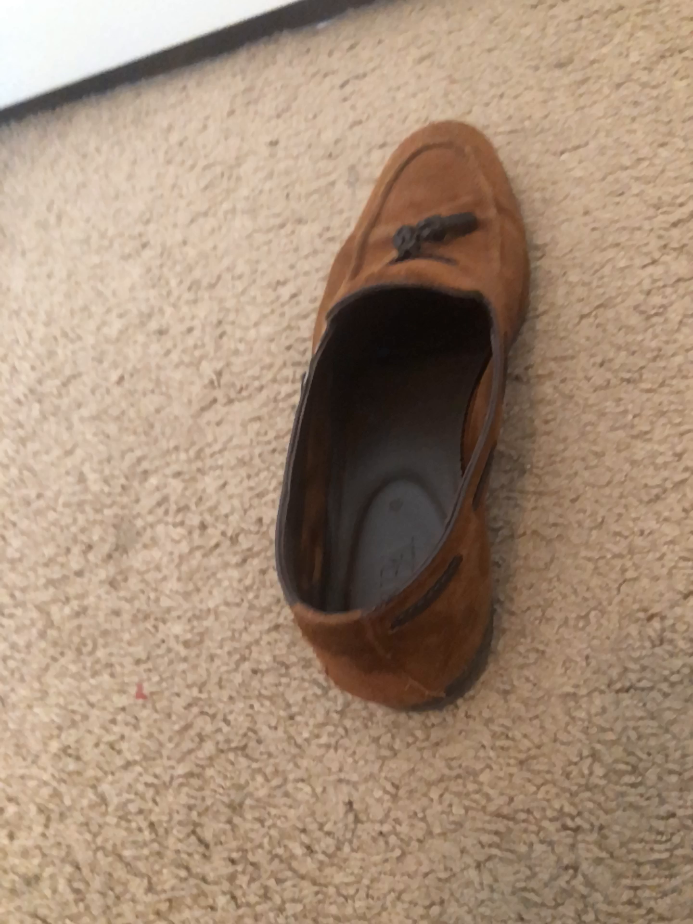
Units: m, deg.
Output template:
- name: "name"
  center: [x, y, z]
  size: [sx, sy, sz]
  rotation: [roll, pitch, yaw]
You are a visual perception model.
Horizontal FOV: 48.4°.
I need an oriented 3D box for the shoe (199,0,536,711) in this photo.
- name: "shoe"
  center: [0.028, -0.052, 0.342]
  size: [0.090, 0.100, 0.293]
  rotation: [-5, 63, 24]
